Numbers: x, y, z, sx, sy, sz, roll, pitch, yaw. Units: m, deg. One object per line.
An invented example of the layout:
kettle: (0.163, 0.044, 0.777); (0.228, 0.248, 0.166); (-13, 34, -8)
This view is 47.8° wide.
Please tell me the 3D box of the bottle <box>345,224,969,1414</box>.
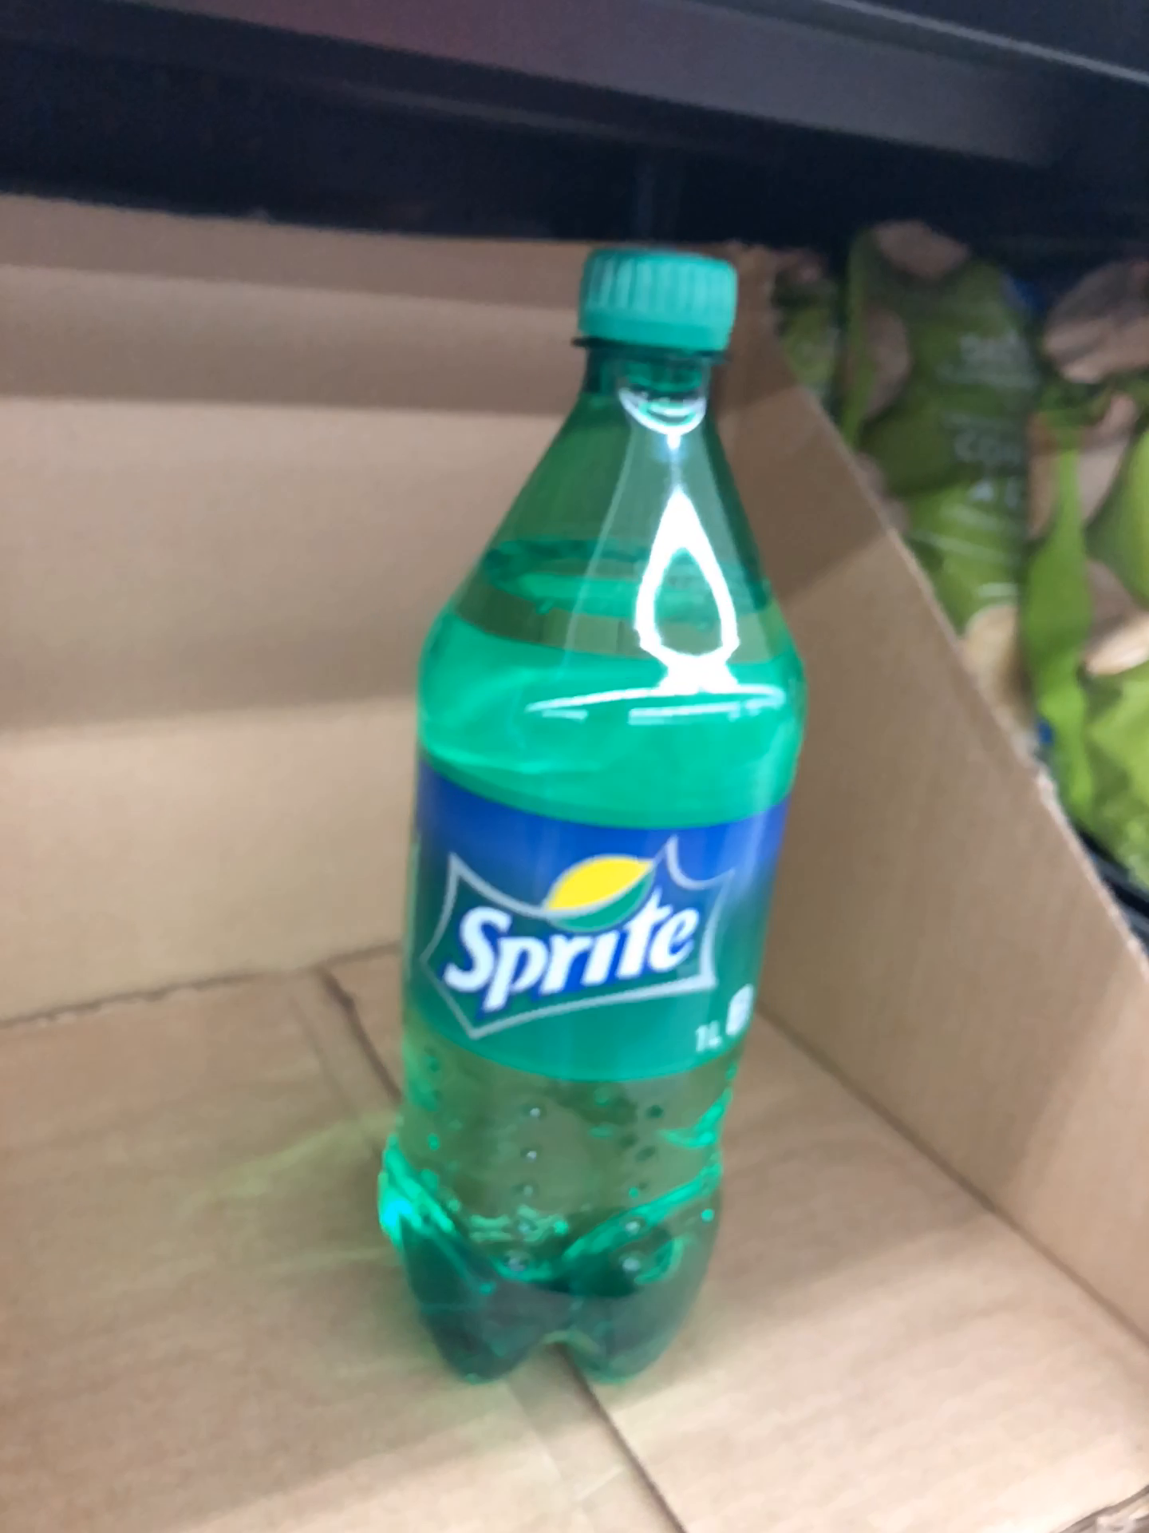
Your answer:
bottle: (0.002, 0.017, 0.294); (0.090, 0.248, 0.091); (6, 22, -2)
